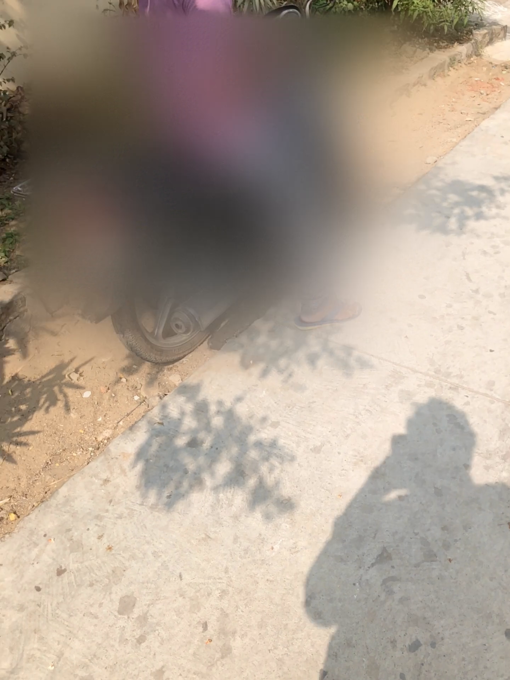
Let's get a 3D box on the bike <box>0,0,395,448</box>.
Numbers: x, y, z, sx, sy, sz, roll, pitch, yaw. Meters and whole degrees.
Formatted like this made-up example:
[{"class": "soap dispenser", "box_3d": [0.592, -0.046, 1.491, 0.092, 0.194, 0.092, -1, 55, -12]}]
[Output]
[{"class": "bike", "box_3d": [-0.108, -0.799, 2.356, 0.769, 1.294, 1.770, 17, 48, 23]}]
